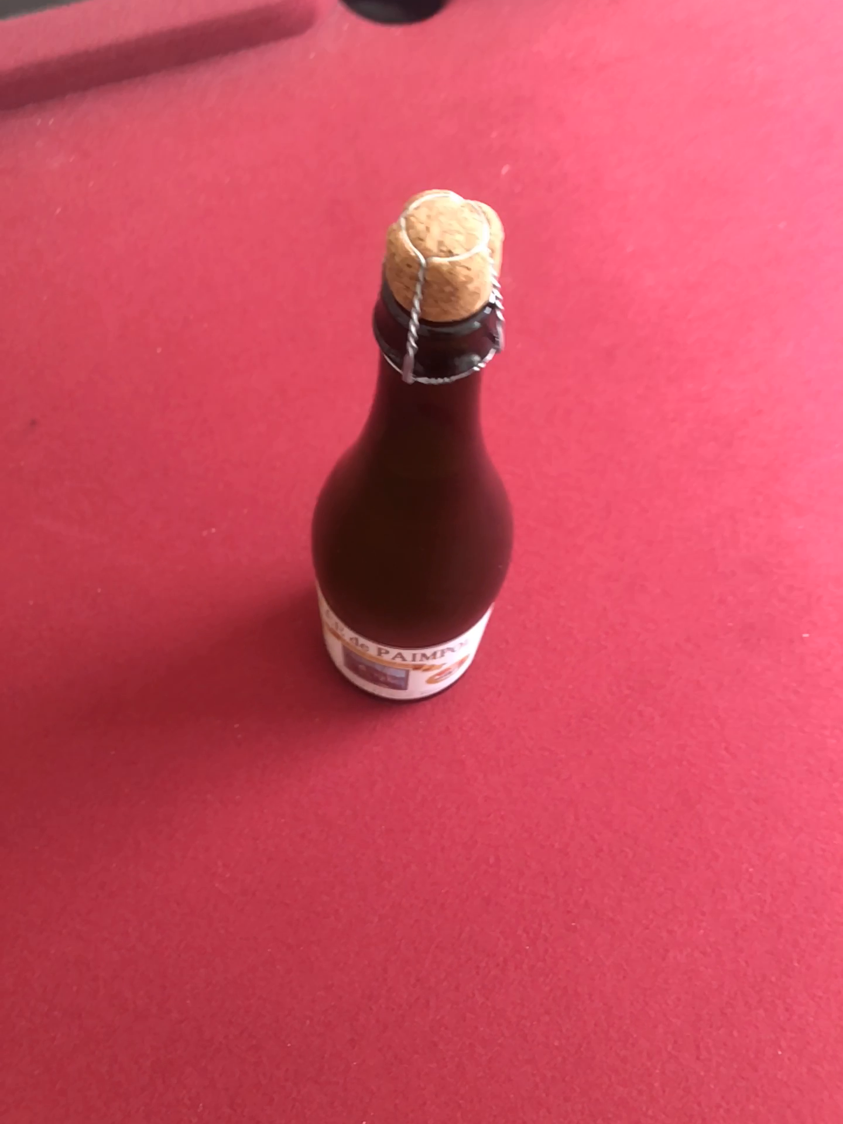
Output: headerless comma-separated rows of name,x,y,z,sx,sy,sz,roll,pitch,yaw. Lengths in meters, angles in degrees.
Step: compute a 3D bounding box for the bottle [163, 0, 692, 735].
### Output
bottle,-0.002,-0.026,0.342,0.090,0.299,0.100,17,69,3
